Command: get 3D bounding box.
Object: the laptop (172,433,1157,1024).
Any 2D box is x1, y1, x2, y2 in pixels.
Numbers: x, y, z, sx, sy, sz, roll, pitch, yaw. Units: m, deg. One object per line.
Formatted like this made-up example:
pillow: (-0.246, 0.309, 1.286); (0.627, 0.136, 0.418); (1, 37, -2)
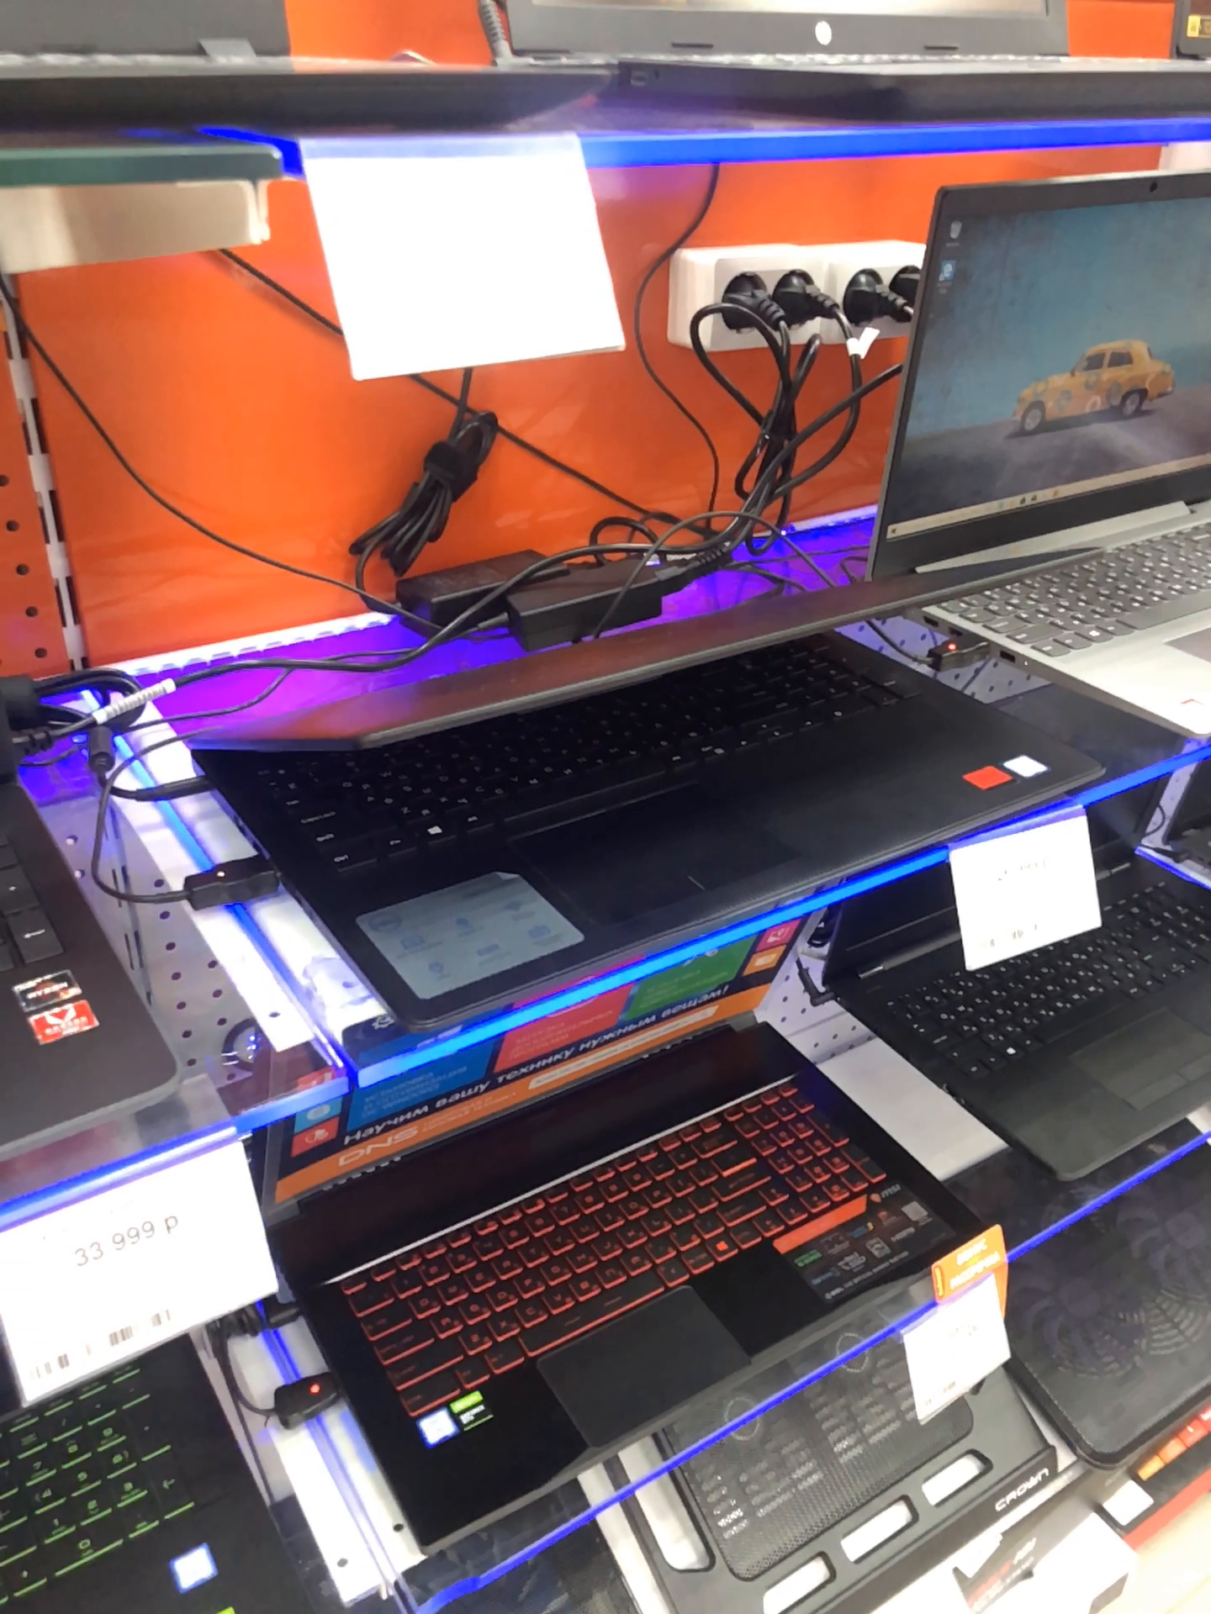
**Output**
laptop: (0.025, -0.070, 0.612); (0.372, 0.100, 0.239); (-18, 34, -28)
